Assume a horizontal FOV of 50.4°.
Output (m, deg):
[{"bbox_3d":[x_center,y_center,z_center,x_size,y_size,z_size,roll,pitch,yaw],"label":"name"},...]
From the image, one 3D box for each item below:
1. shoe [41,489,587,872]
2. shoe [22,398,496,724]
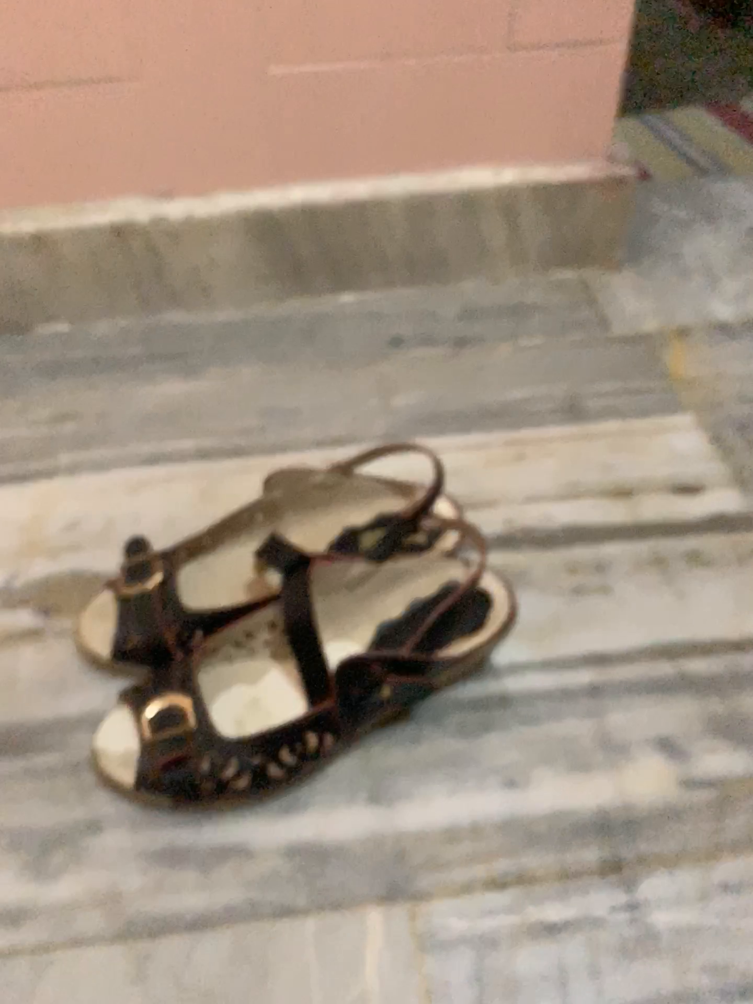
[{"bbox_3d":[-0.033,0.093,0.441,0.260,0.100,0.100,-15,47,-11],"label":"shoe"},{"bbox_3d":[-0.069,0.032,0.500,0.260,0.100,0.100,-15,47,-11],"label":"shoe"}]
